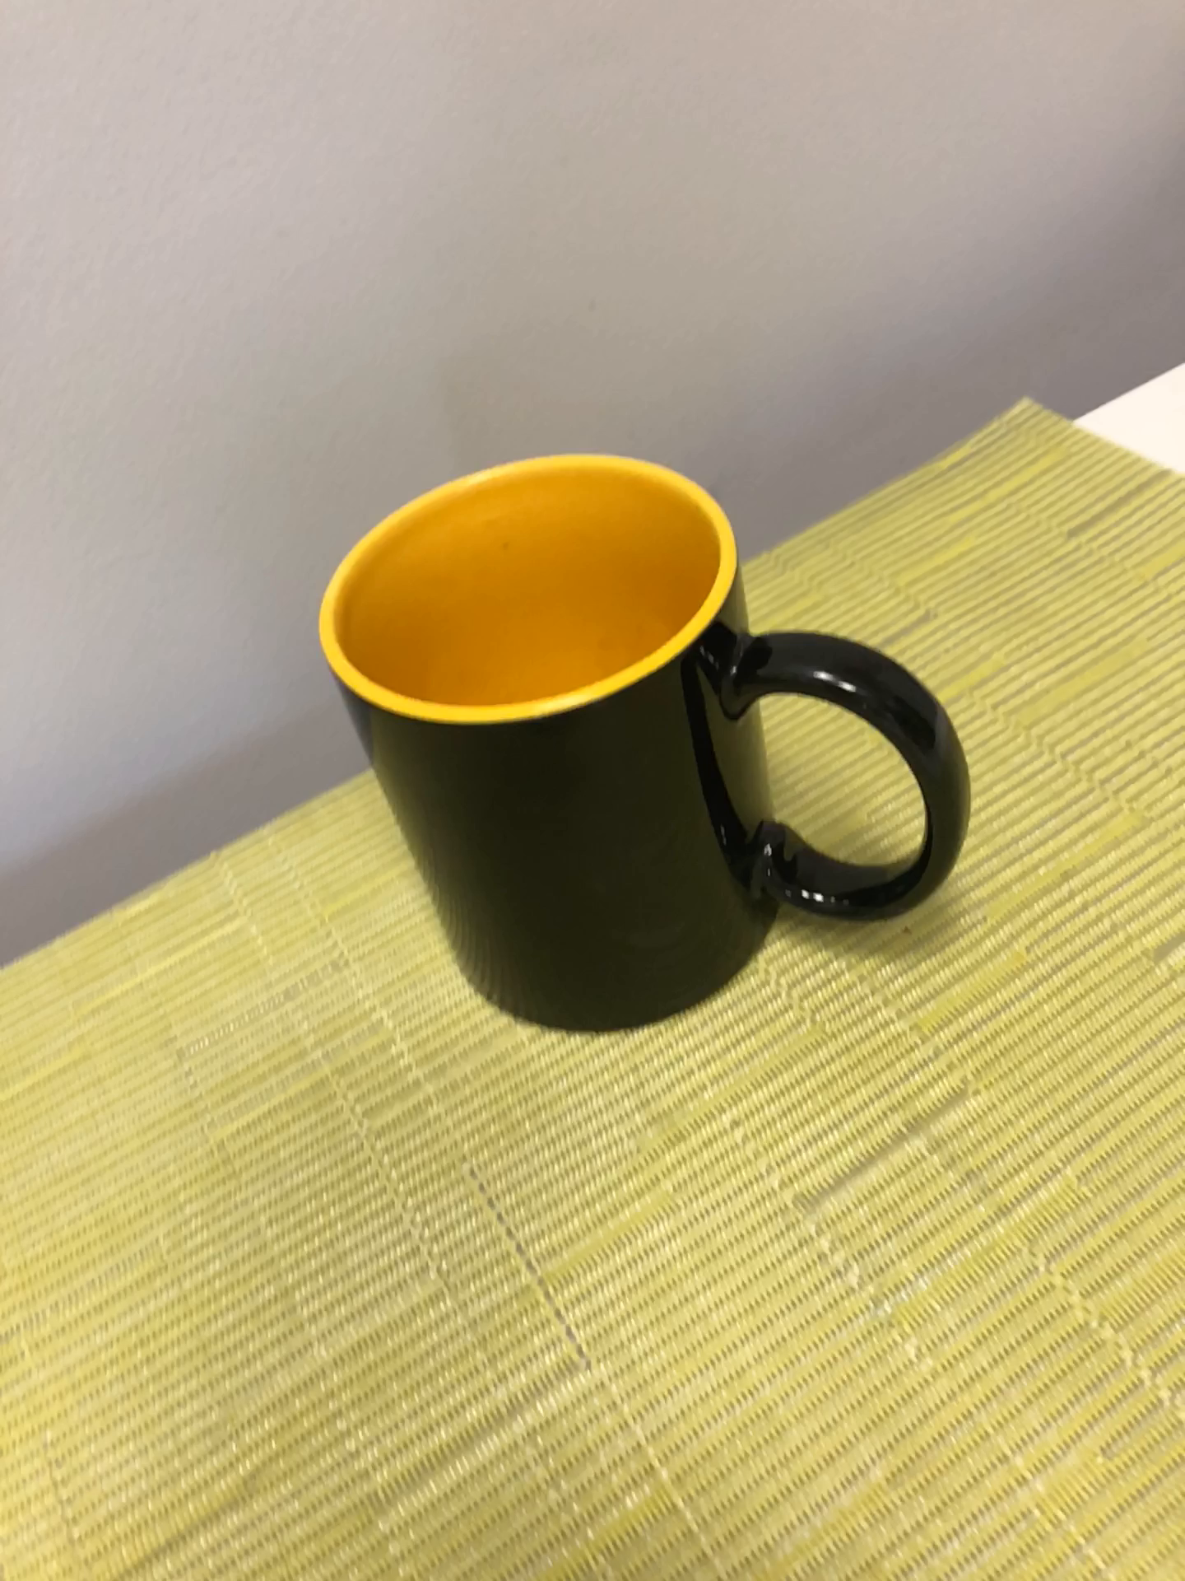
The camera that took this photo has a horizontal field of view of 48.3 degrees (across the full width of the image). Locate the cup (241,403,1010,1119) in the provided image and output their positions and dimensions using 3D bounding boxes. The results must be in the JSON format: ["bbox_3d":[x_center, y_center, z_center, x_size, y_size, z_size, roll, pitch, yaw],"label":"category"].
[{"bbox_3d":[0.018,-0.008,0.271,0.119,0.104,0.089,5,47,20],"label":"cup"}]
